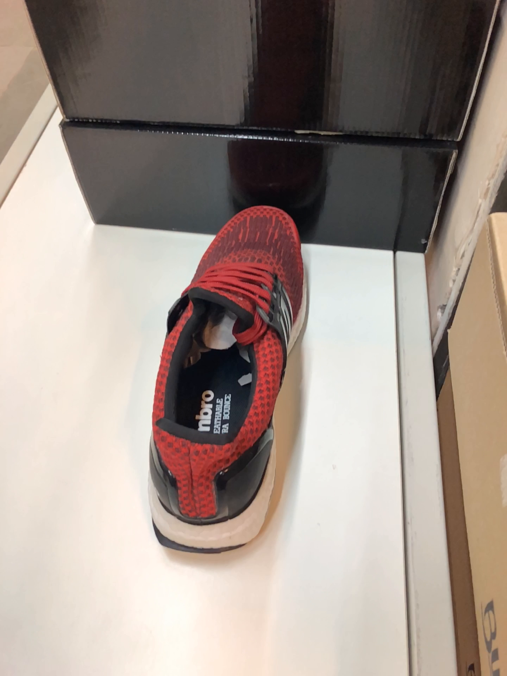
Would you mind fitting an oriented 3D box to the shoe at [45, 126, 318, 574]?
[{"bbox_3d":[-0.023,-0.009,0.383,0.111,0.108,0.287,5,55,6],"label":"shoe"}]
